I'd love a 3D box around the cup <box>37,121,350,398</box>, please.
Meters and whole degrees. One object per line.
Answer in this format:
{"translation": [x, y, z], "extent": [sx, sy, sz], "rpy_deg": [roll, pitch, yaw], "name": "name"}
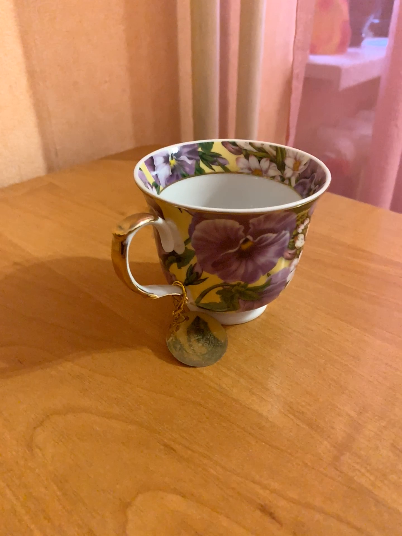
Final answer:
{"translation": [0.001, -0.016, 0.194], "extent": [0.077, 0.069, 0.109], "rpy_deg": [28, 42, 37], "name": "cup"}
